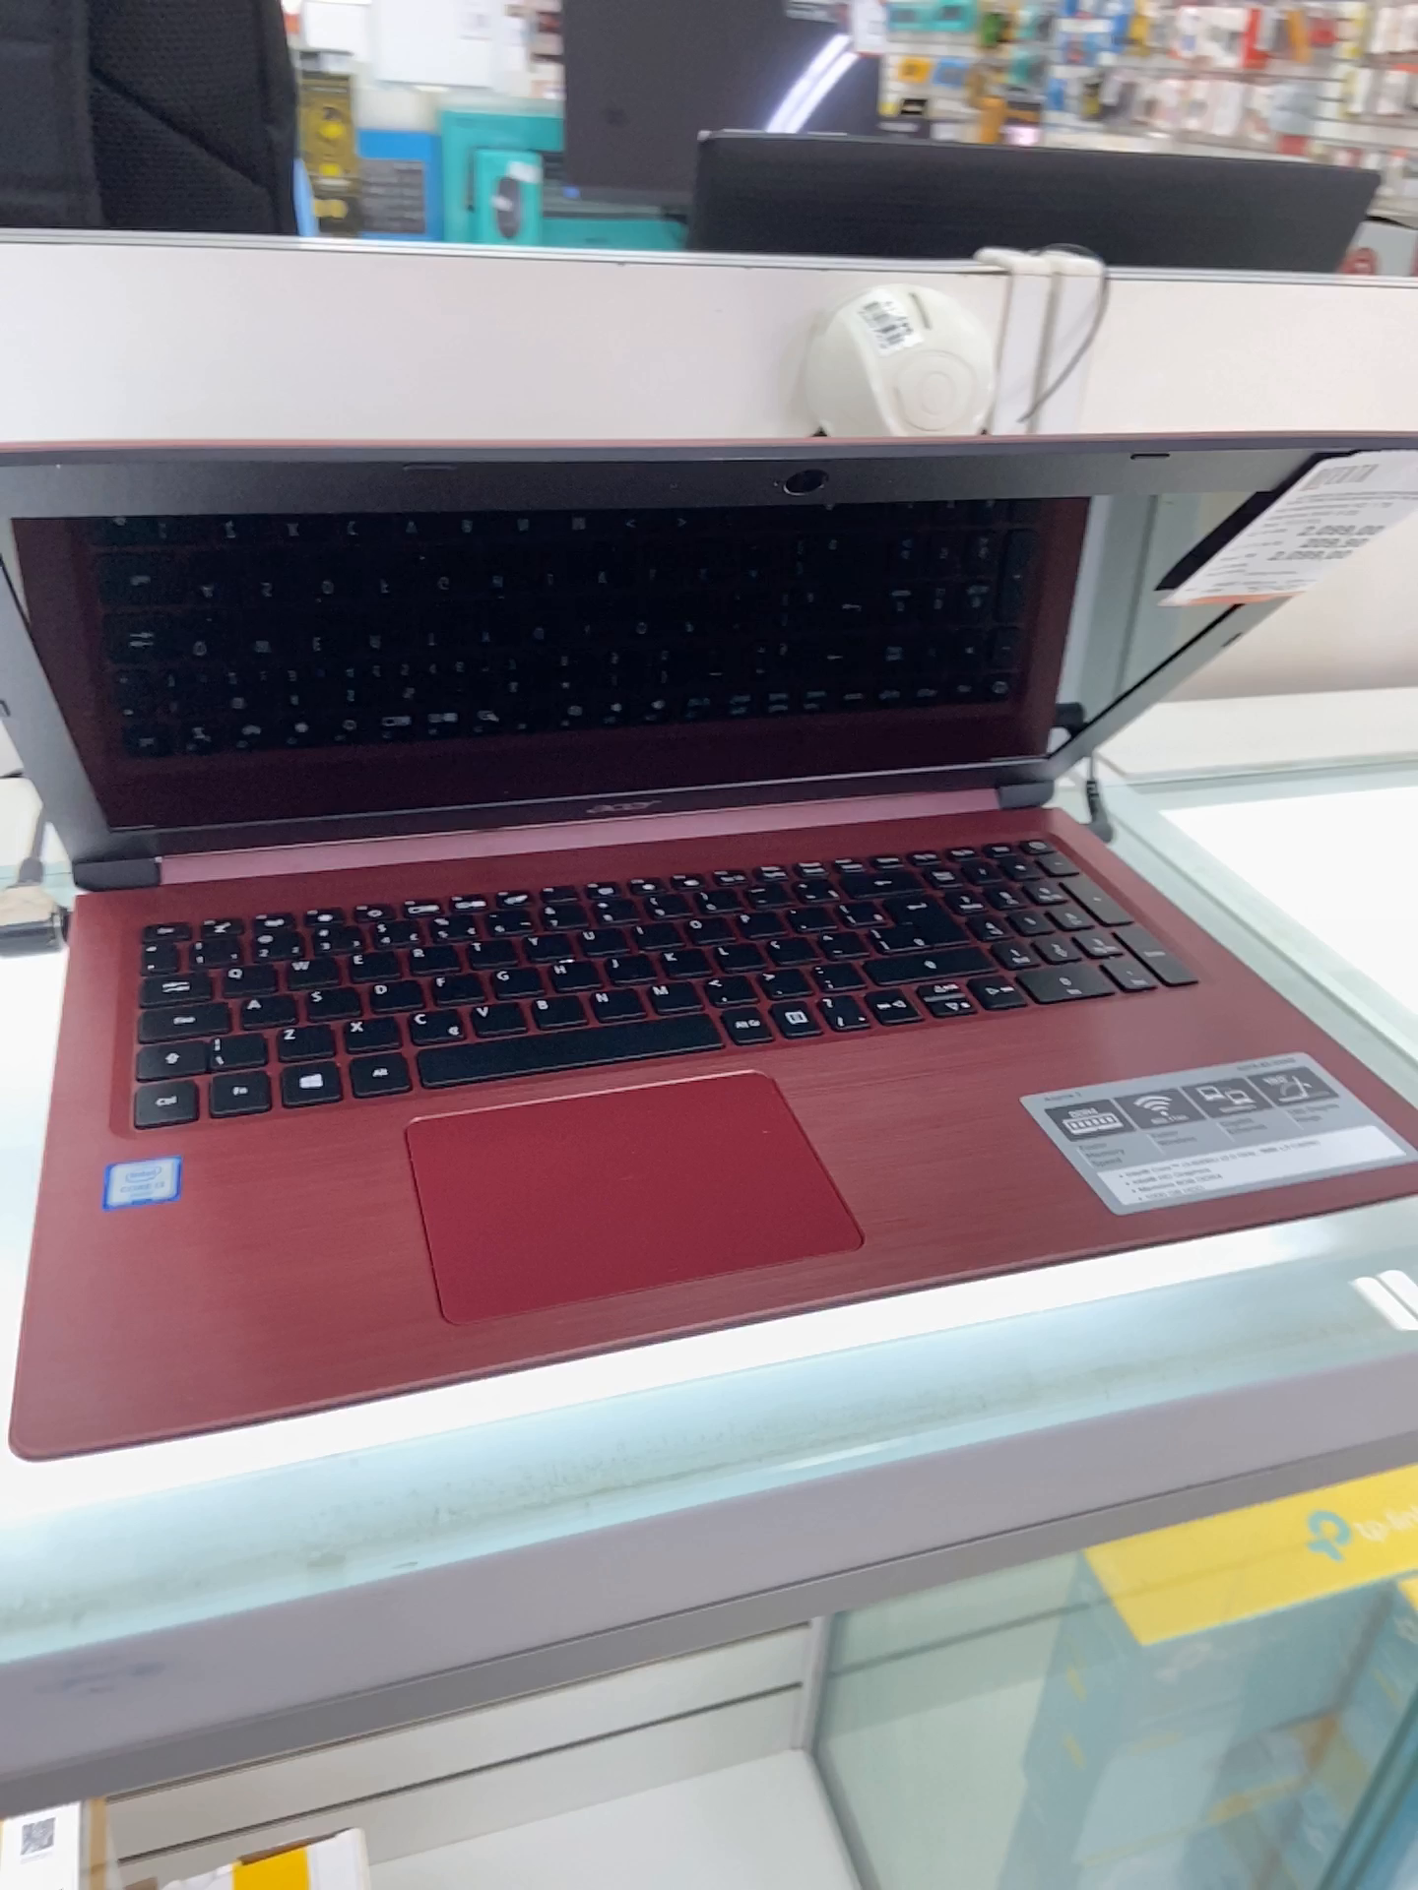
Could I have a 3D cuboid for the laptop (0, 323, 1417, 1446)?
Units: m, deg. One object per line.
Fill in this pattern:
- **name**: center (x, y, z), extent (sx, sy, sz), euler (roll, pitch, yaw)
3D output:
- **laptop**: center (0.004, -0.053, 0.403), extent (0.368, 0.179, 0.239), euler (-6, 32, -17)
